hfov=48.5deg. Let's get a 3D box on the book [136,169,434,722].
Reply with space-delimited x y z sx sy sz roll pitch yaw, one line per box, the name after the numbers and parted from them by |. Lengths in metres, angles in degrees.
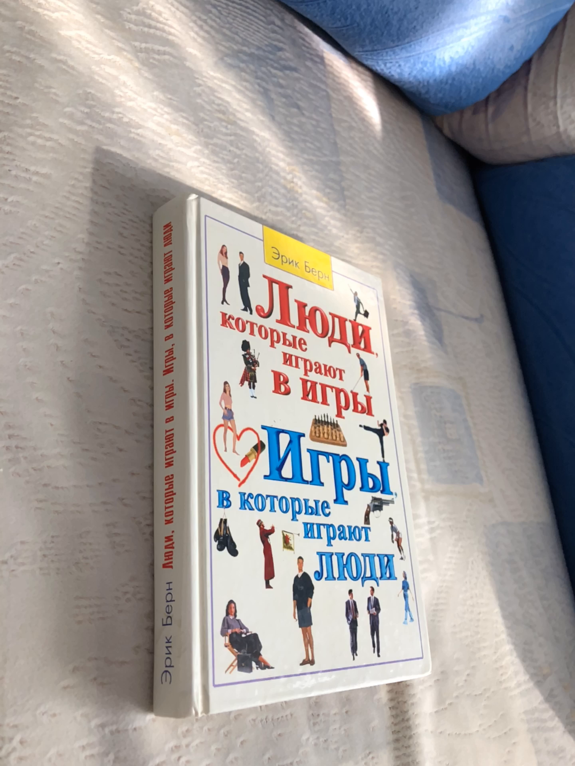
0.001 0.025 0.290 0.135 0.030 0.210 16 62 -42 | book
